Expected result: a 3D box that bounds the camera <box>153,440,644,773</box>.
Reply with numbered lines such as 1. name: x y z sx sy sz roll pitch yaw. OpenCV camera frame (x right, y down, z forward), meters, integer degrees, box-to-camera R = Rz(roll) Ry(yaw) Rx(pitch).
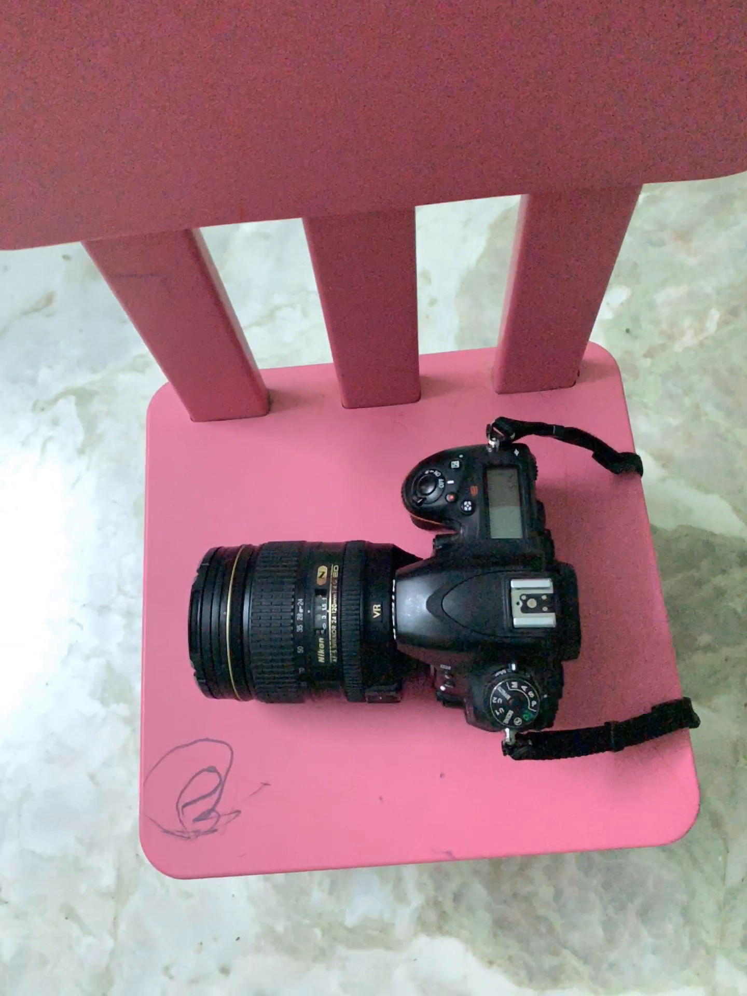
1. camera: 0.009 0.056 0.383 0.210 0.080 0.140 -3 76 3
